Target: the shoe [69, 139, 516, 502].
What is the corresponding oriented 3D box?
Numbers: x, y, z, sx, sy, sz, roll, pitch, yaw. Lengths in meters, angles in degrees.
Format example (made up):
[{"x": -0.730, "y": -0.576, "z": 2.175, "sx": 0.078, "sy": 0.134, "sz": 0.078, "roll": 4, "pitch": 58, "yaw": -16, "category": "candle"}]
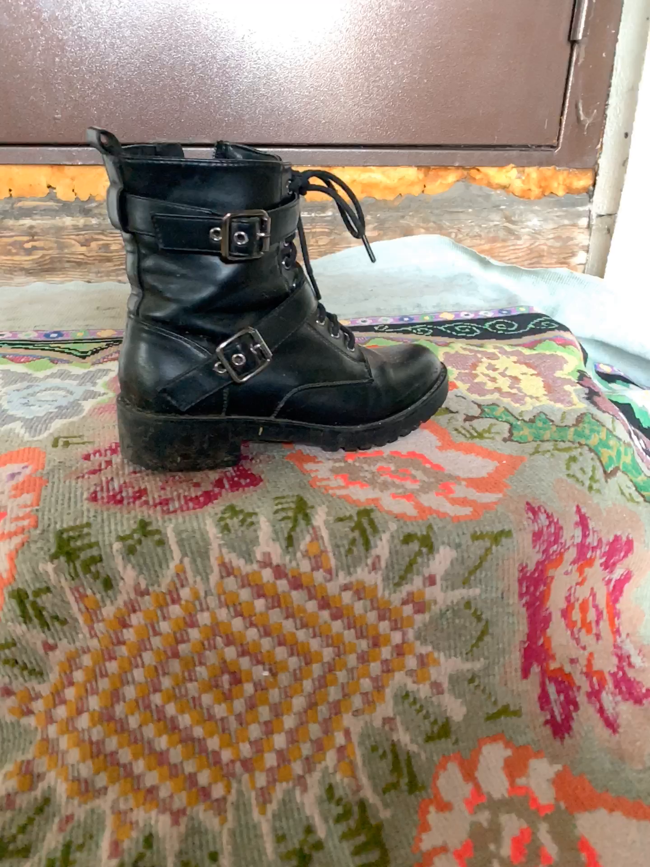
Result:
[{"x": -0.020, "y": -0.082, "z": 0.422, "sx": 0.240, "sy": 0.188, "sz": 0.091, "roll": -9, "pitch": 27, "yaw": -18, "category": "shoe"}]
